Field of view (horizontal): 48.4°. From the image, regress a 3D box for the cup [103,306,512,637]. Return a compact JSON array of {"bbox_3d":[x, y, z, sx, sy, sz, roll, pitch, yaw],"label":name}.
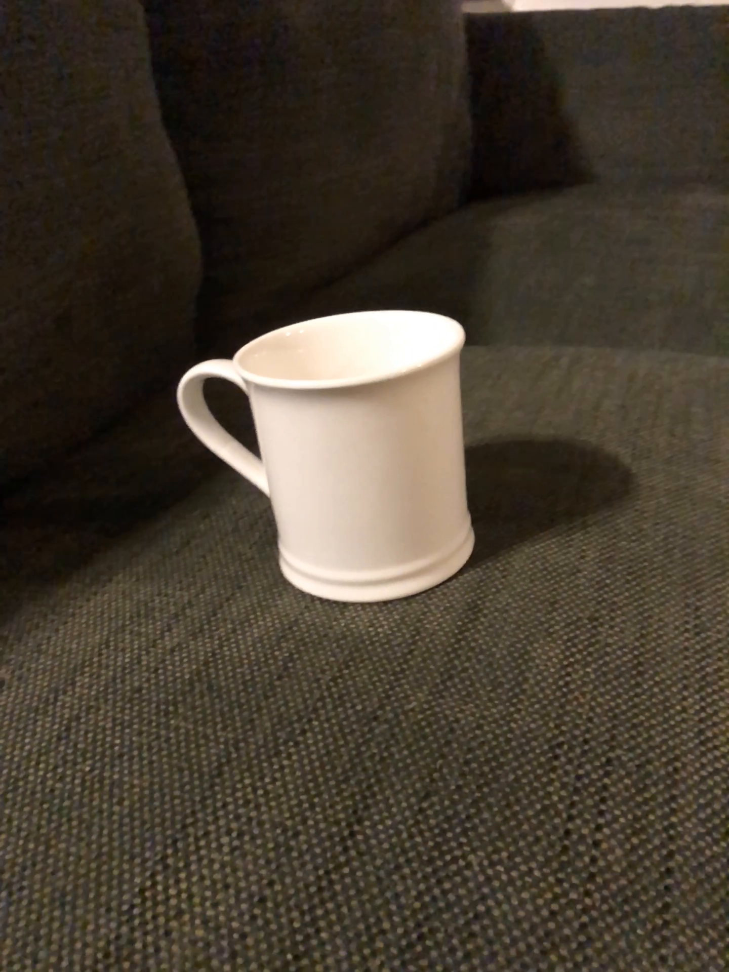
[{"bbox_3d":[-0.013,-0.013,0.348,0.140,0.100,0.100,2,28,15],"label":"cup"}]
